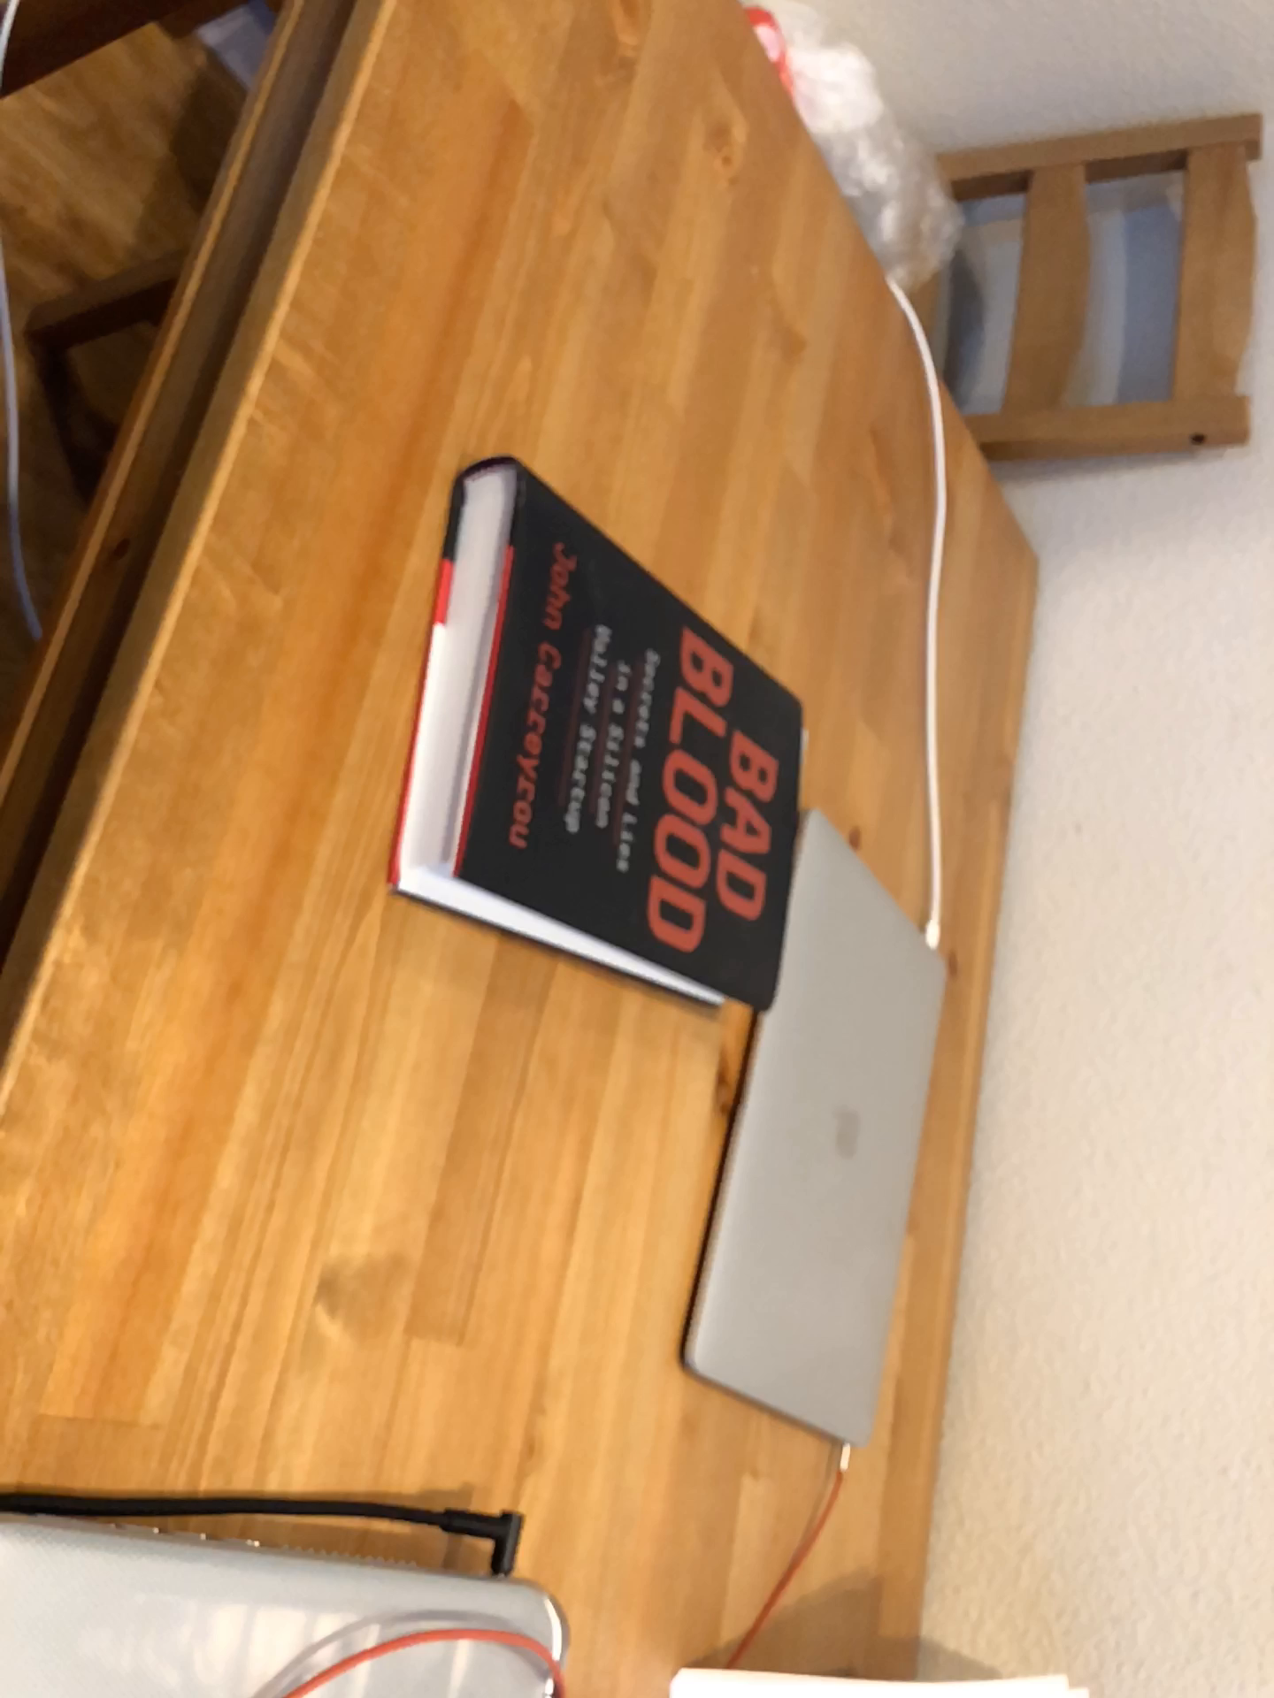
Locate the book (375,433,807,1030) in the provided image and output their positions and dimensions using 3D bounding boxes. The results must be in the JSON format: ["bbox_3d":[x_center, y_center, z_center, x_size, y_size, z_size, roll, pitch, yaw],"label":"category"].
[{"bbox_3d":[-0.002,-0.033,0.616,0.252,0.030,0.178,28,65,-54],"label":"book"}]
